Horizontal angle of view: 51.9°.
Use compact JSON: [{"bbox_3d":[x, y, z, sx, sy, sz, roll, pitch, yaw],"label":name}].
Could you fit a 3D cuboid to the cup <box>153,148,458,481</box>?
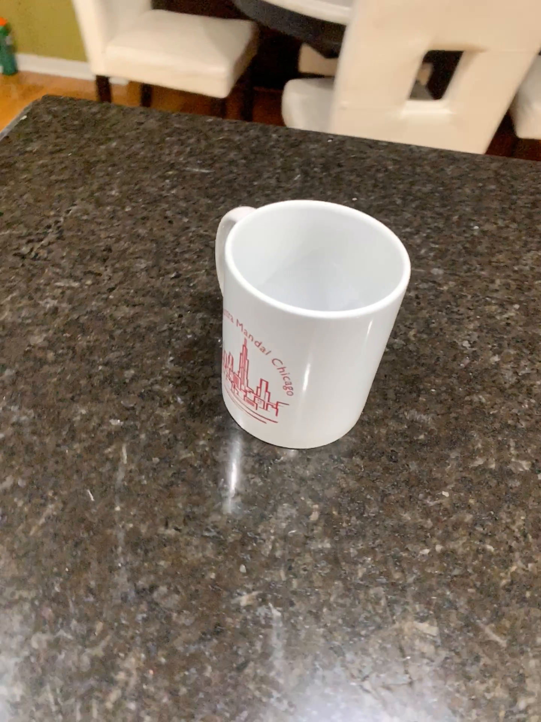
[{"bbox_3d":[0.008,-0.029,0.289,0.081,0.097,0.124,-25,54,-26],"label":"cup"}]
